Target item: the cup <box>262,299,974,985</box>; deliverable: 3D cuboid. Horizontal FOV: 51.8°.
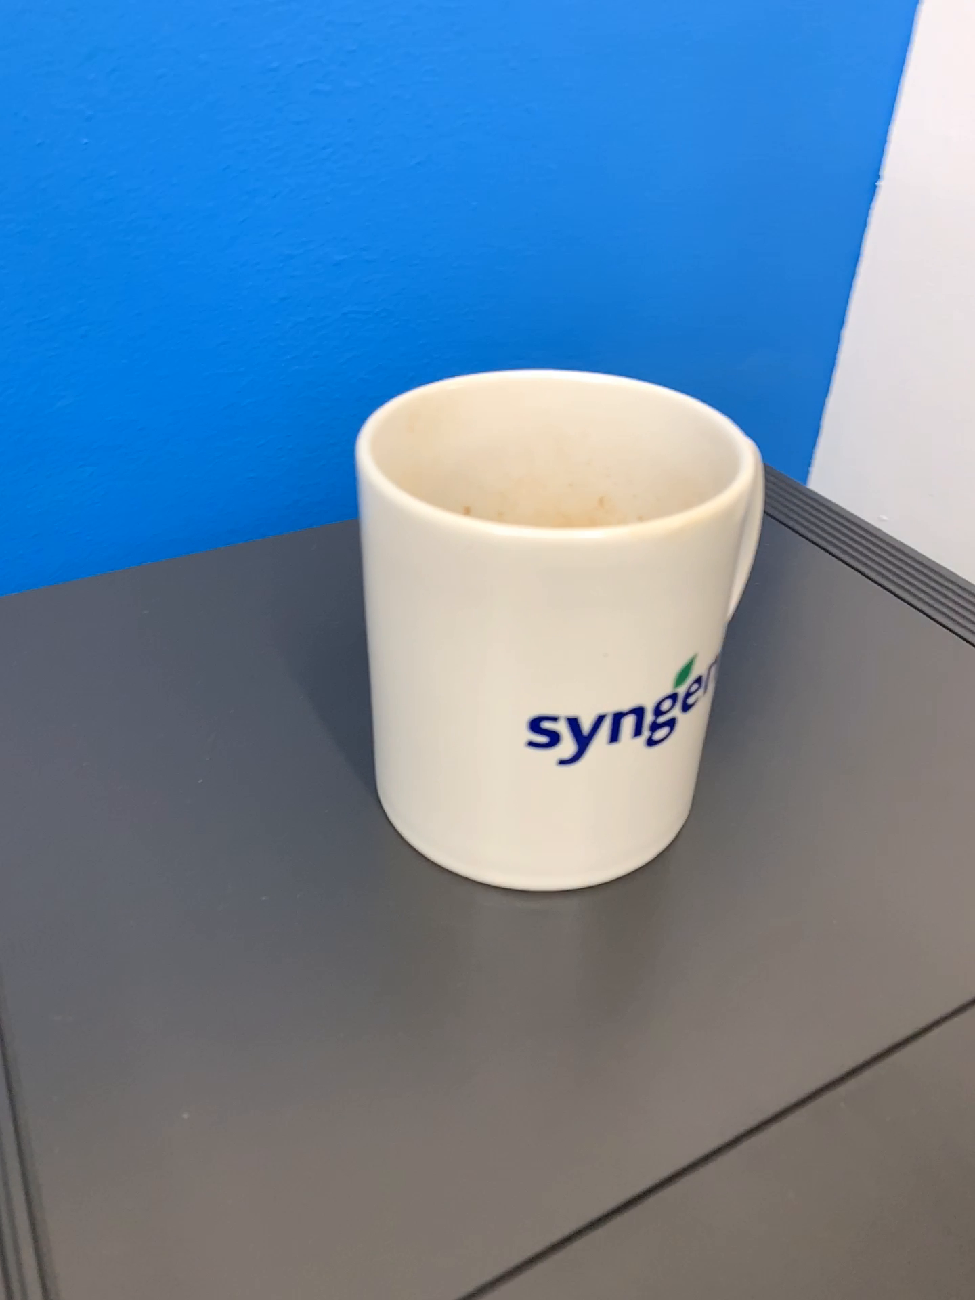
[{"bbox_3d":[0.031,-0.014,0.240,0.132,0.094,0.088,-26,44,-33],"label":"cup"}]
